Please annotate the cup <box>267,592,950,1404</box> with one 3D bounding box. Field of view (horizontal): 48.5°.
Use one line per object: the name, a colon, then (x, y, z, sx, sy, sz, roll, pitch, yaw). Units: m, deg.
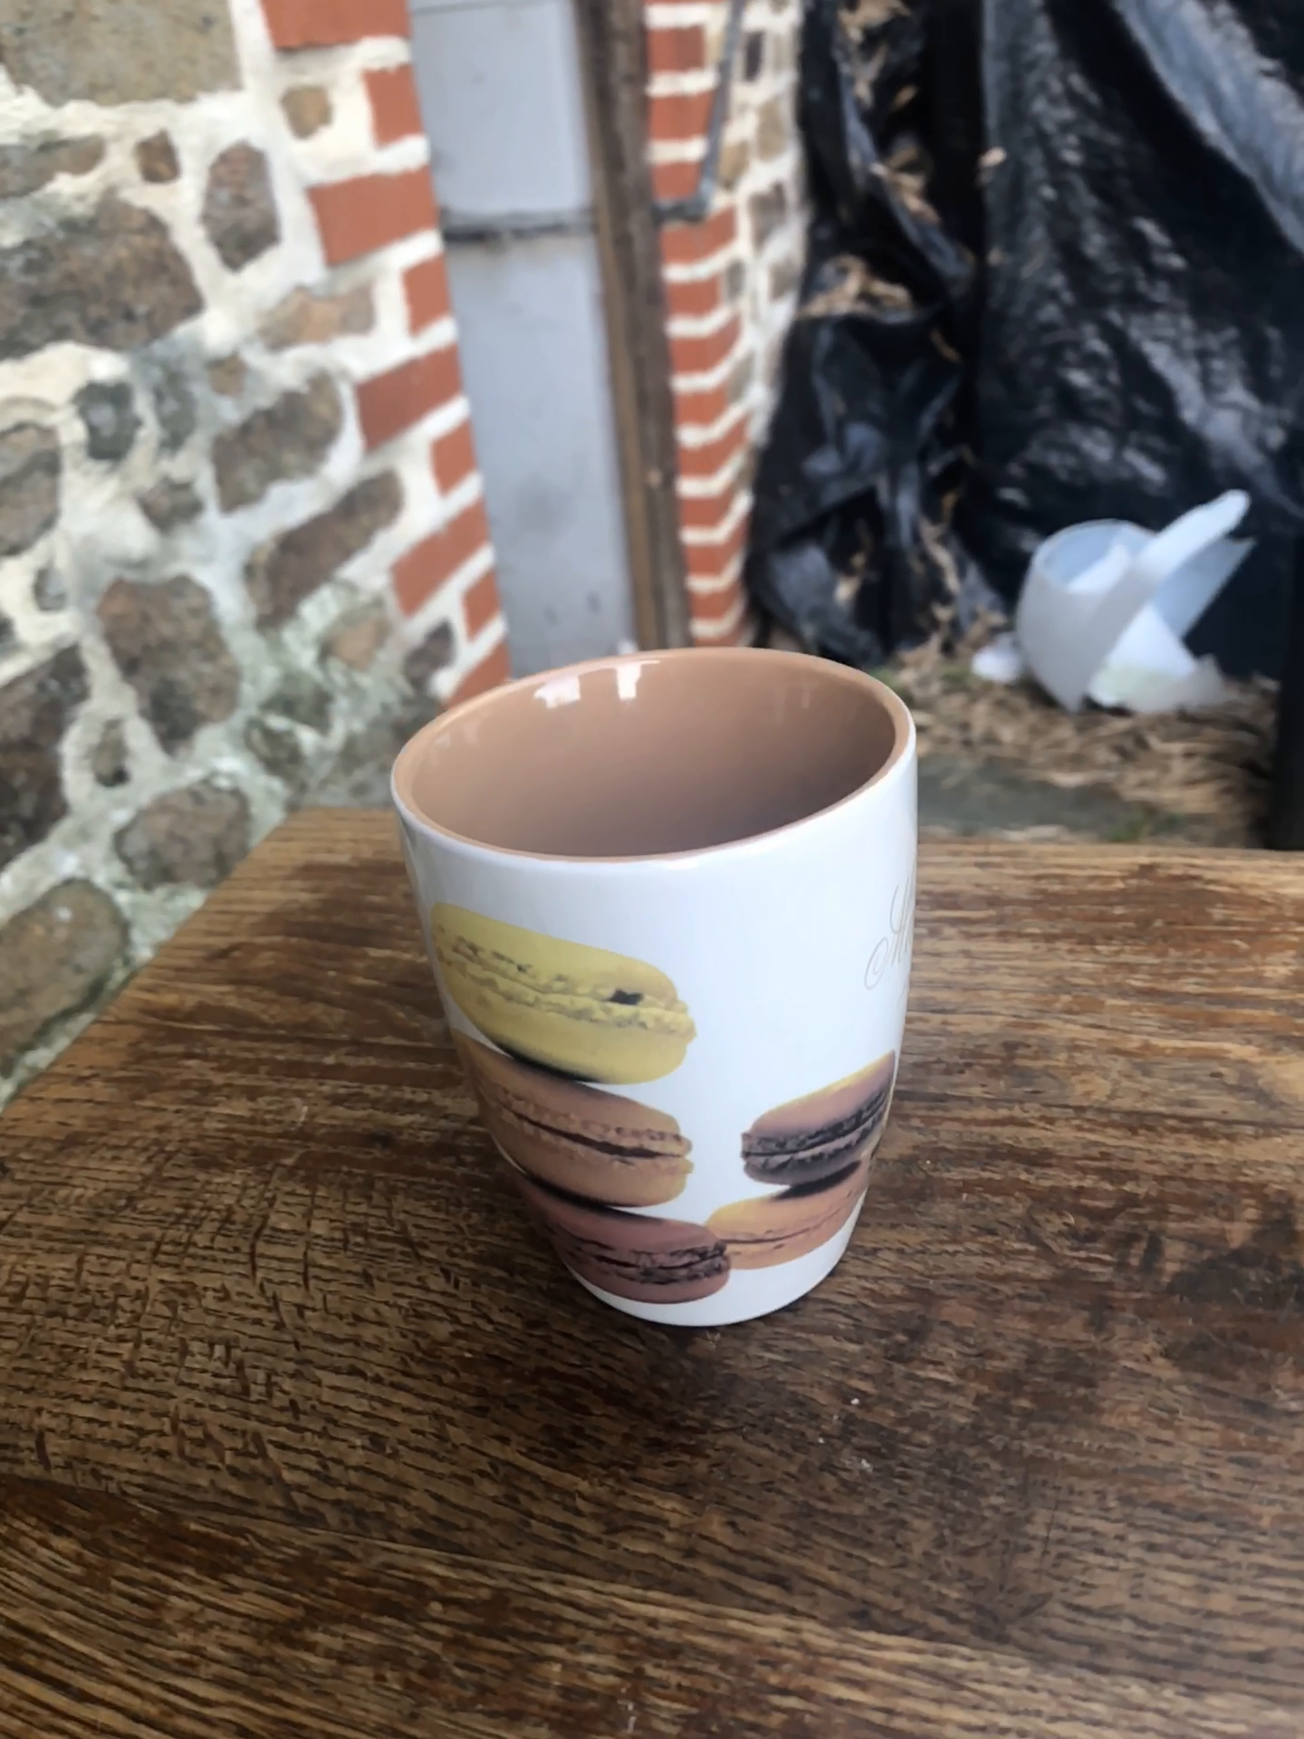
cup: (-0.003, 0.016, 0.273, 0.093, 0.090, 0.124, -5, 30, 2)
